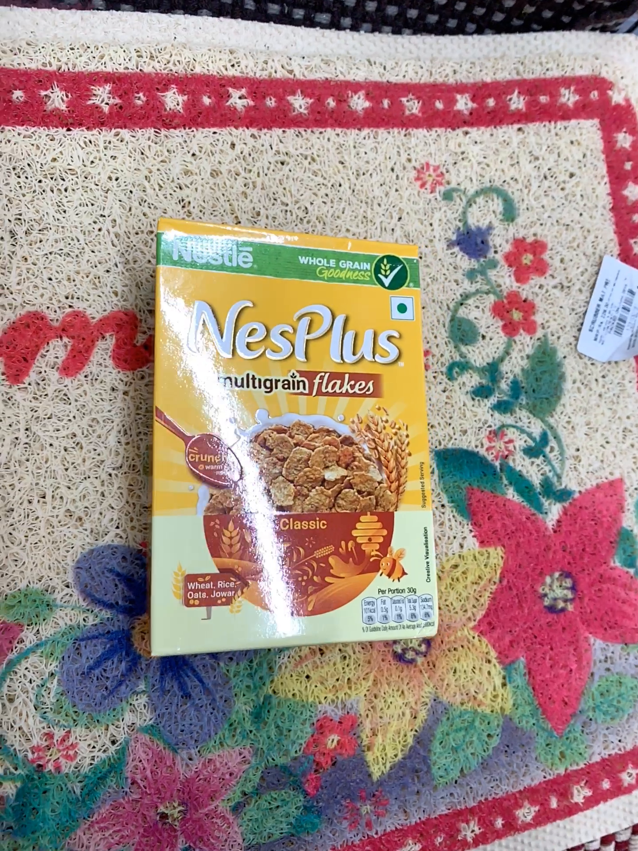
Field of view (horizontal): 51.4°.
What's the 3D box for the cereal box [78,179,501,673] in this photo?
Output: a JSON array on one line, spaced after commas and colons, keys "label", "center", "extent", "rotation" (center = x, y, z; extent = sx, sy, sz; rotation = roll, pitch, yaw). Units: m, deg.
[{"label": "cereal box", "center": [-0.010, 0.000, 0.233], "extent": [0.130, 0.040, 0.150], "rotation": [2, 79, -14]}]
